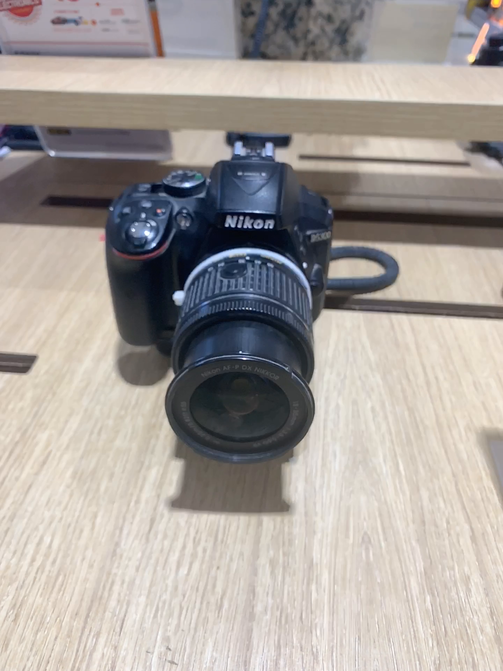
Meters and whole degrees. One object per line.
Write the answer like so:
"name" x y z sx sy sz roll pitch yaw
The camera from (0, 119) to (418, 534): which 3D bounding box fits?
"camera" -0.025 -0.024 0.286 0.160 0.120 0.211 1 38 2
